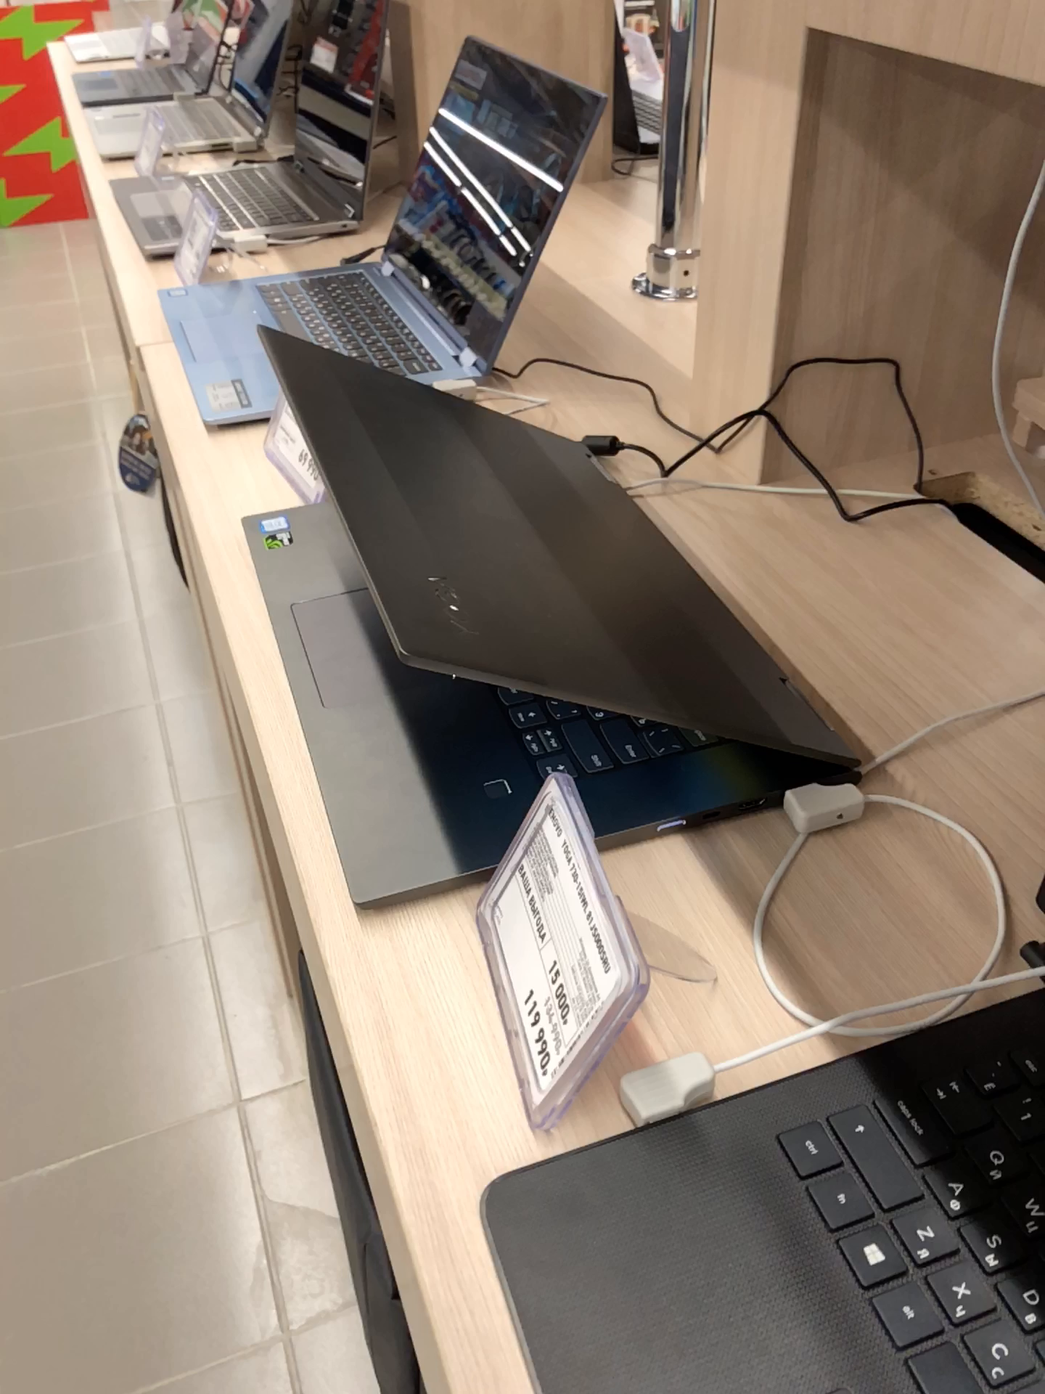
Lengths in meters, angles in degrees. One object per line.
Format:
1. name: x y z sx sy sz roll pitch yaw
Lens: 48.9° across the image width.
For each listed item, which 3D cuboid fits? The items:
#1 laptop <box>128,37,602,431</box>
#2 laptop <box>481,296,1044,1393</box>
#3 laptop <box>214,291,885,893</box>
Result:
1. laptop: -0.148 -0.436 1.030 0.342 0.201 0.356 -14 39 -16
2. laptop: 0.200 0.140 0.197 0.304 0.240 0.403 -15 38 -15
3. laptop: -0.017 -0.092 0.634 0.242 0.118 0.364 -13 38 -14
